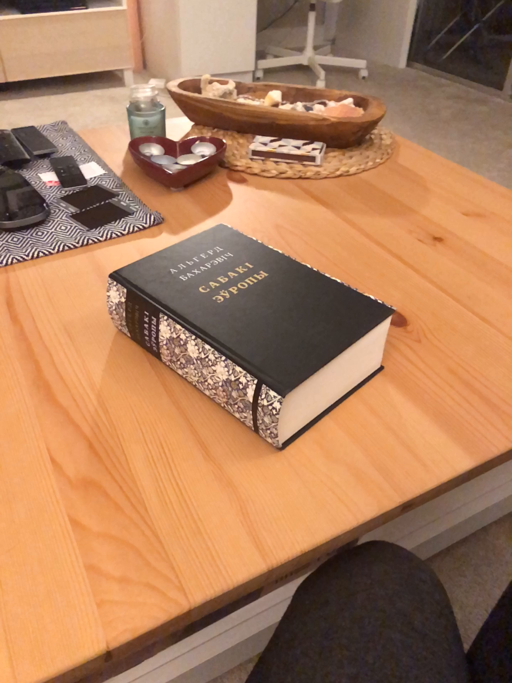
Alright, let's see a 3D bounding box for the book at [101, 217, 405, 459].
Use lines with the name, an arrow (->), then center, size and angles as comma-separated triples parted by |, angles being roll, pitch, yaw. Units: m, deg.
book -> -0.008, -0.021, 0.528 | 0.229, 0.061, 0.158 | 33, 50, 31
